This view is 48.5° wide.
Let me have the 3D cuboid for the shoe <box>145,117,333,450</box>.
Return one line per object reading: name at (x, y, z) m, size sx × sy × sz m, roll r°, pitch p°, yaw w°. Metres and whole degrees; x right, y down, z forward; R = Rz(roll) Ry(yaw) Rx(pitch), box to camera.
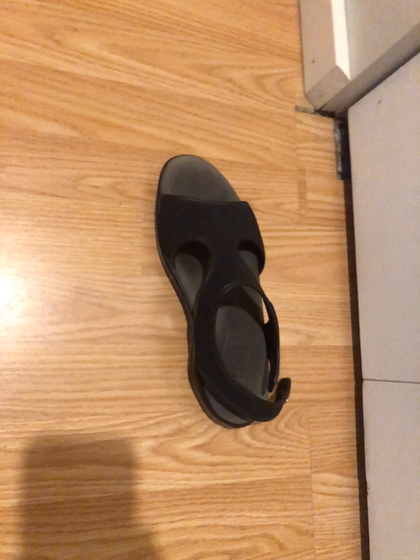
shoe at (0.017, 0.001, 0.409) m, size 0.100 × 0.100 × 0.250 m, roll -5°, pitch 83°, yaw -21°
